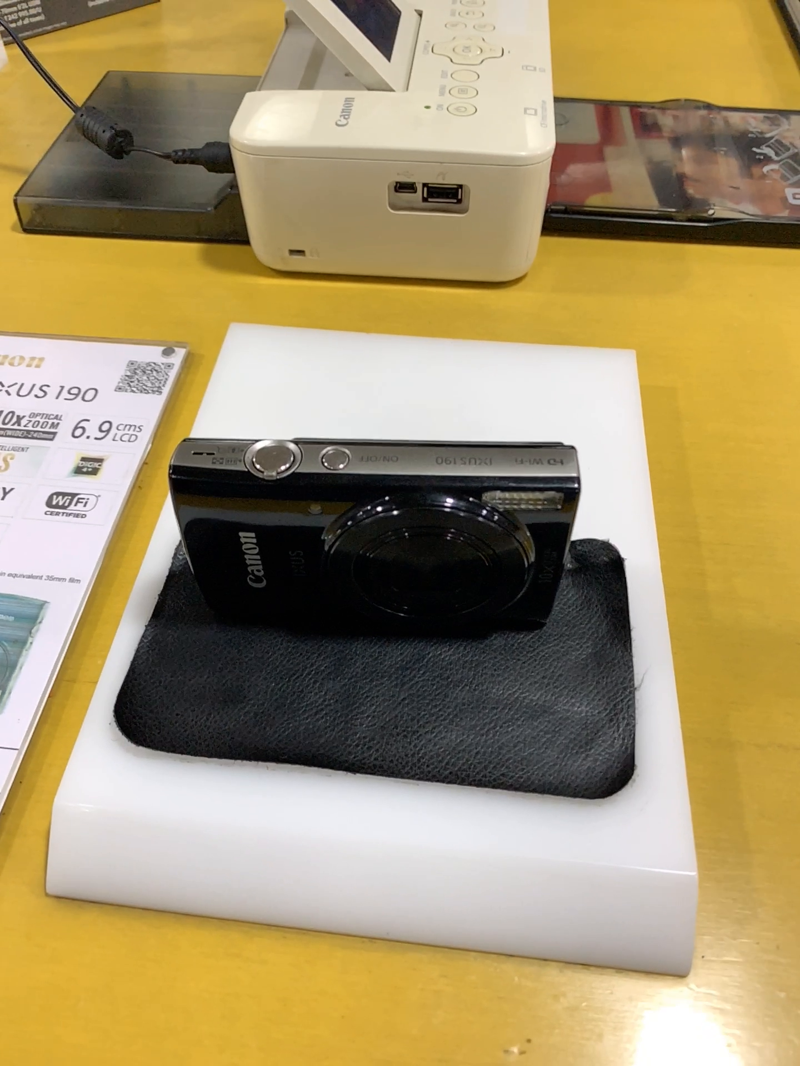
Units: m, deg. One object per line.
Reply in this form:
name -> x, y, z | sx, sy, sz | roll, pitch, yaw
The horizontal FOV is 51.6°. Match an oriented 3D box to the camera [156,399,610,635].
camera -> -0.003, -0.001, 0.194 | 0.090, 0.060, 0.020 | 1, 51, 1
